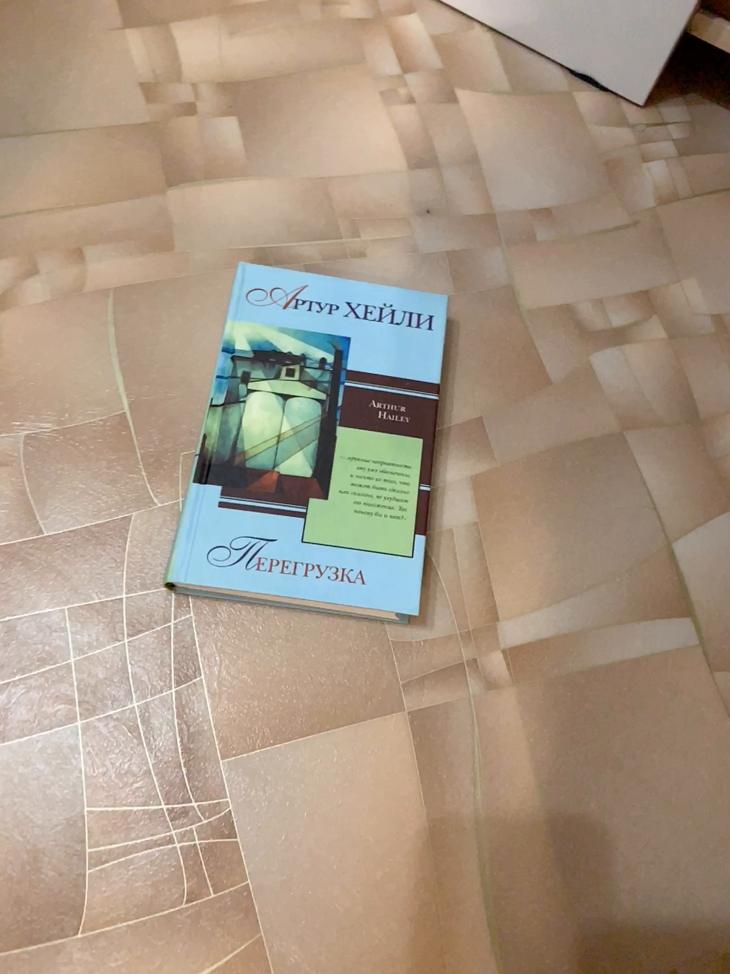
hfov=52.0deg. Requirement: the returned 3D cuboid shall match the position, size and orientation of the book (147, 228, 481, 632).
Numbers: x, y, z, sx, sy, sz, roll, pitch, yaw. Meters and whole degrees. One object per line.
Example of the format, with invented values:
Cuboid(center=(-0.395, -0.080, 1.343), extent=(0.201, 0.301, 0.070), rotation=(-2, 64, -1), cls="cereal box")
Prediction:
Cuboid(center=(-0.020, -0.037, 0.418), extent=(0.150, 0.040, 0.211), rotation=(8, 68, -2), cls="book")
